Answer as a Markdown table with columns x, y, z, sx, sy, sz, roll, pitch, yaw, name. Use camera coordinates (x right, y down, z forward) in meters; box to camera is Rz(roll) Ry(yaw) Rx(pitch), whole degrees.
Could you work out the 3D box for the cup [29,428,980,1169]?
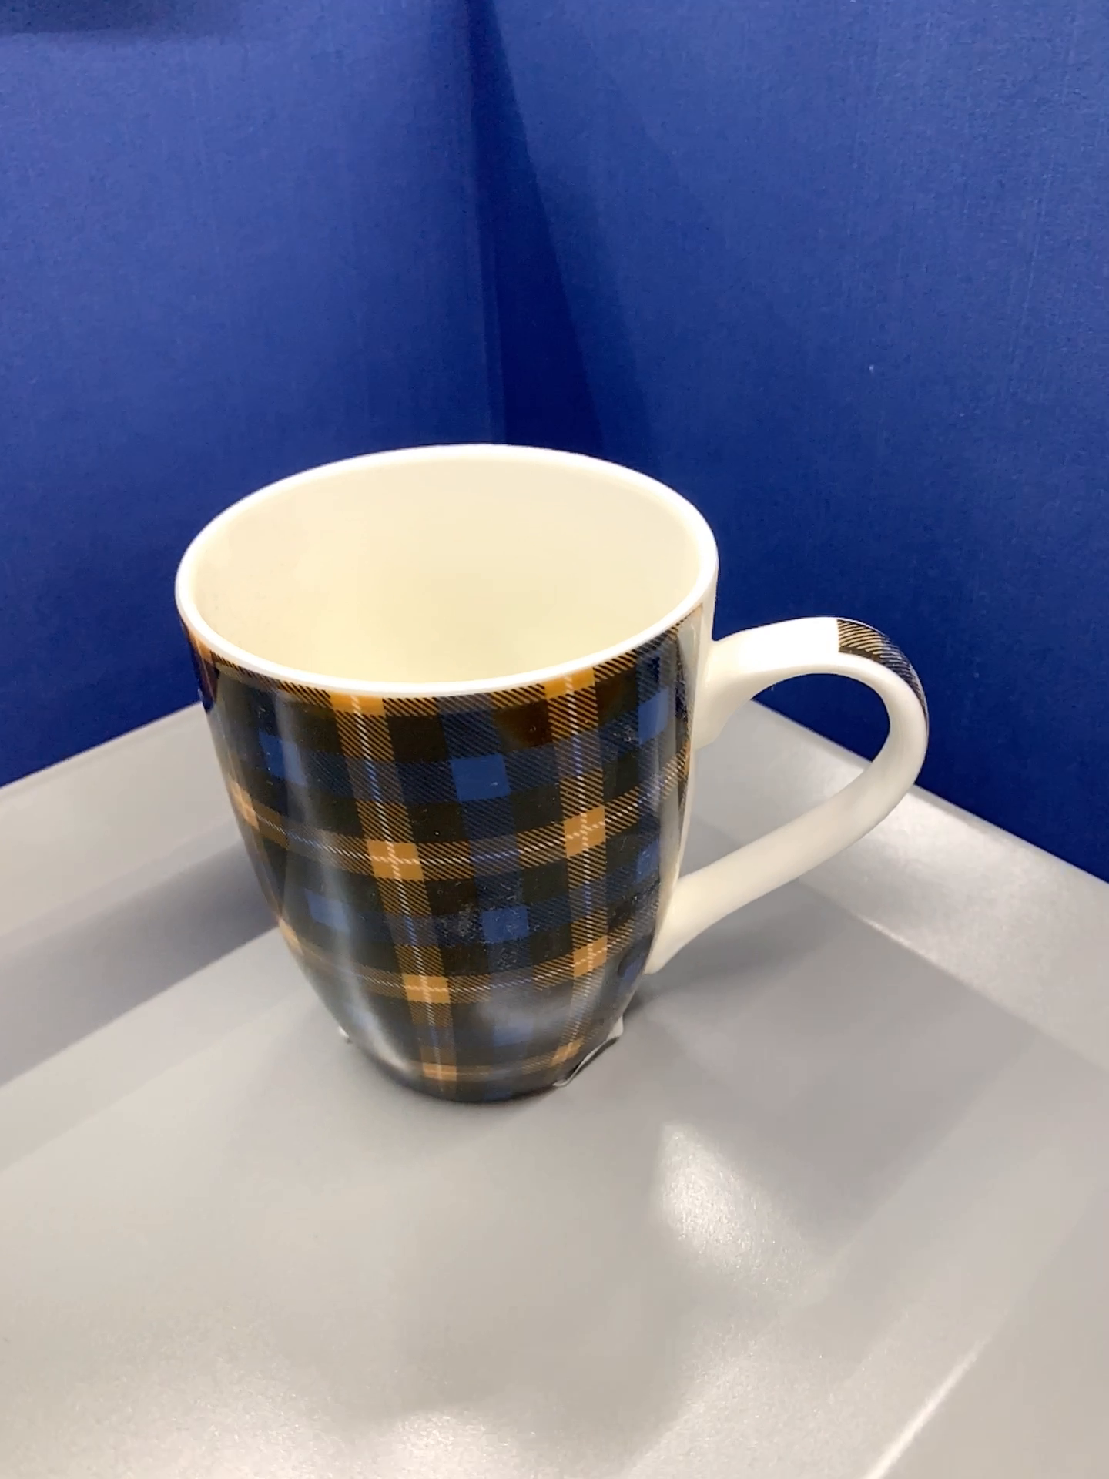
| x | y | z | sx | sy | sz | roll | pitch | yaw | name |
| --- | --- | --- | --- | --- | --- | --- | --- | --- | --- |
| -0.008 | 0.005 | 0.212 | 0.121 | 0.089 | 0.095 | -3 | 33 | -3 | cup |
